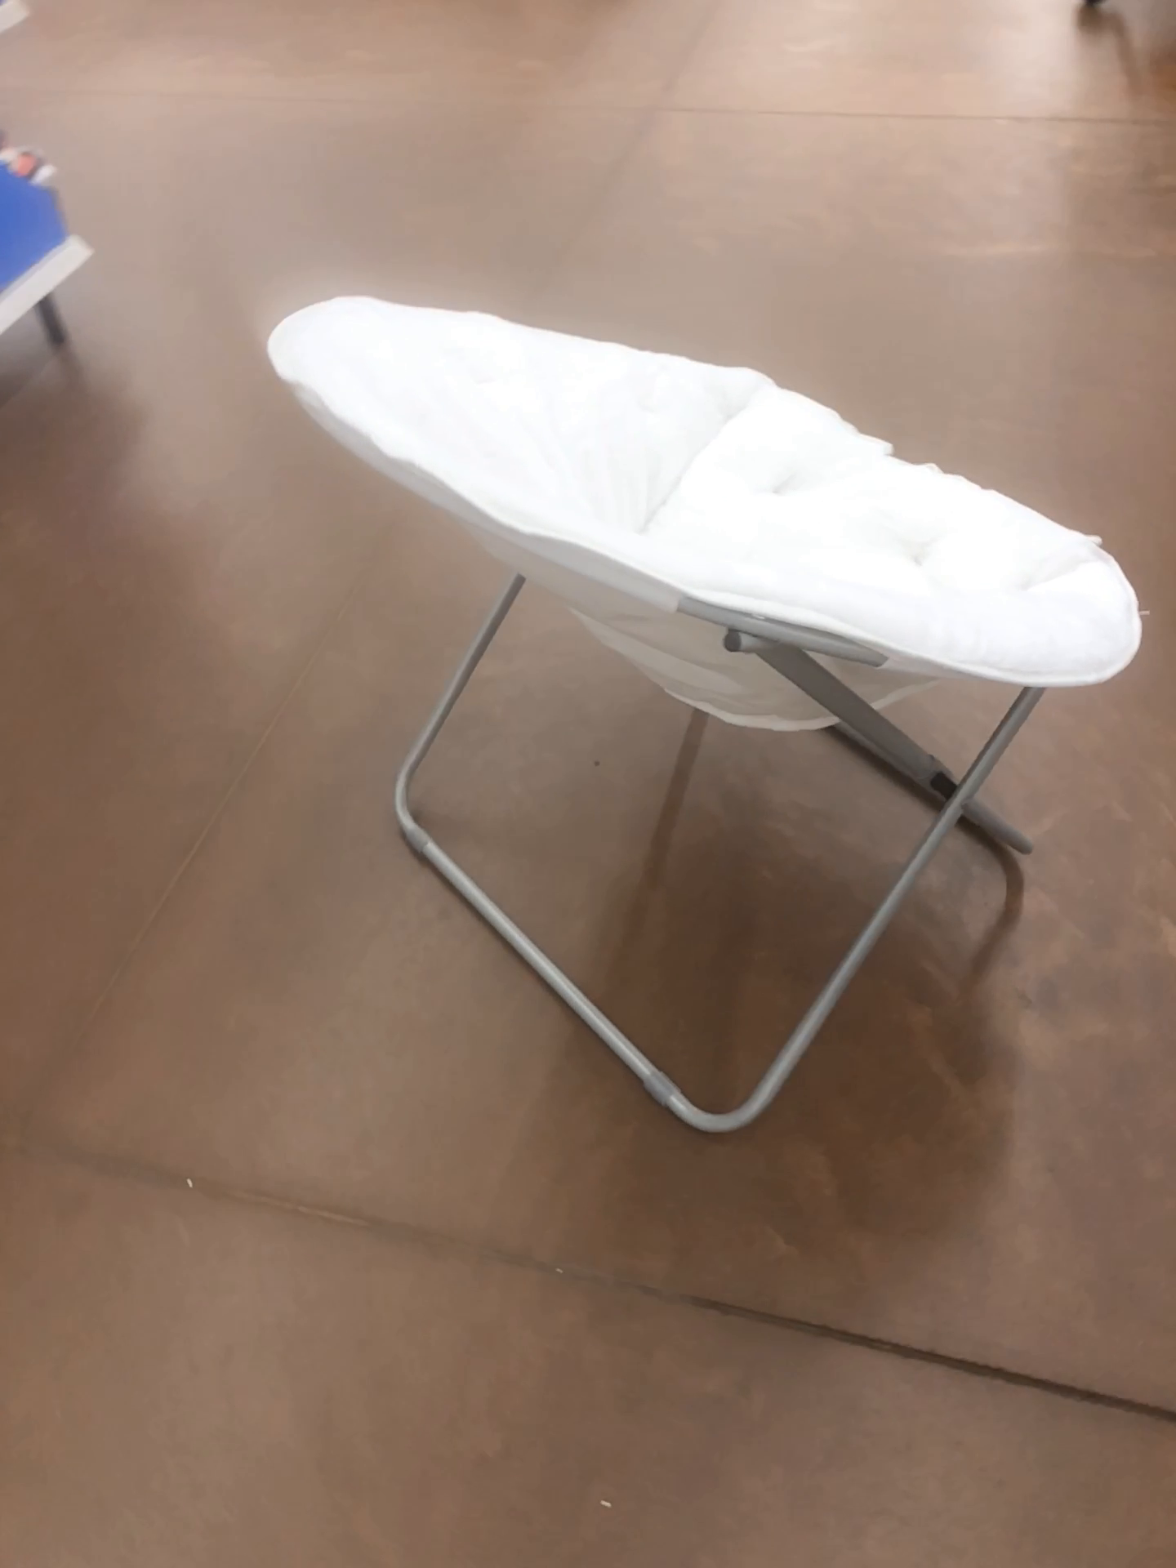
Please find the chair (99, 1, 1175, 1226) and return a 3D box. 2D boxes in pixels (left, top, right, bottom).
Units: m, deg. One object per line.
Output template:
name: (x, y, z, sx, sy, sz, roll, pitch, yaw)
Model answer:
chair: (0.138, -0.232, 1.246, 0.751, 0.648, 0.762, -31, 50, -23)
